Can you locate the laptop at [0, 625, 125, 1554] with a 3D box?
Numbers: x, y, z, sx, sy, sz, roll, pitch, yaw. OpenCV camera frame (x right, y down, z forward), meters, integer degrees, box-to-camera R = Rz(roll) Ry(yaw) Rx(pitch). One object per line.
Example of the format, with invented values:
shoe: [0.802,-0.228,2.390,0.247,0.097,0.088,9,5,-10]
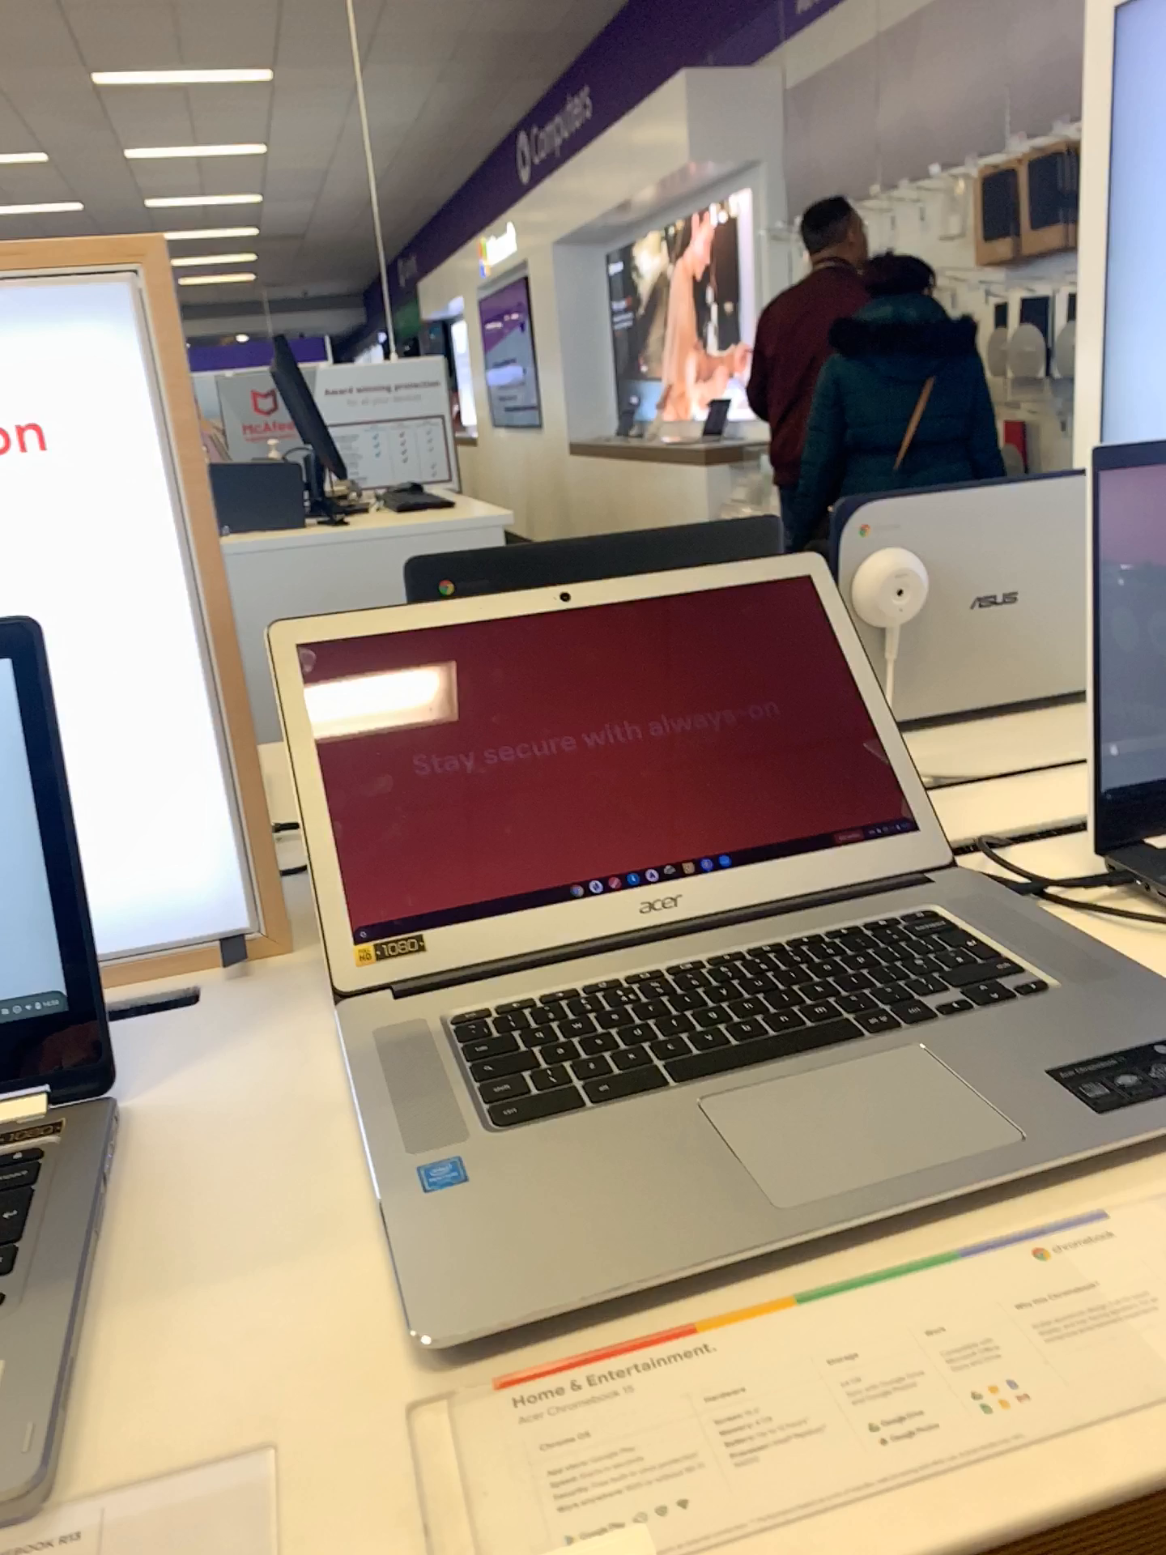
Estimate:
laptop: [-0.355,0.093,0.417,0.307,0.216,0.279,-9,17,-14]

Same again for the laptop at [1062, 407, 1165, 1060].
laptop: [0.494,-0.059,0.623,0.358,0.233,0.269,-9,18,-14]

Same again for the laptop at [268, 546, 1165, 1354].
laptop: [0.055,0.013,0.614,0.376,0.175,0.427,-10,19,-15]
